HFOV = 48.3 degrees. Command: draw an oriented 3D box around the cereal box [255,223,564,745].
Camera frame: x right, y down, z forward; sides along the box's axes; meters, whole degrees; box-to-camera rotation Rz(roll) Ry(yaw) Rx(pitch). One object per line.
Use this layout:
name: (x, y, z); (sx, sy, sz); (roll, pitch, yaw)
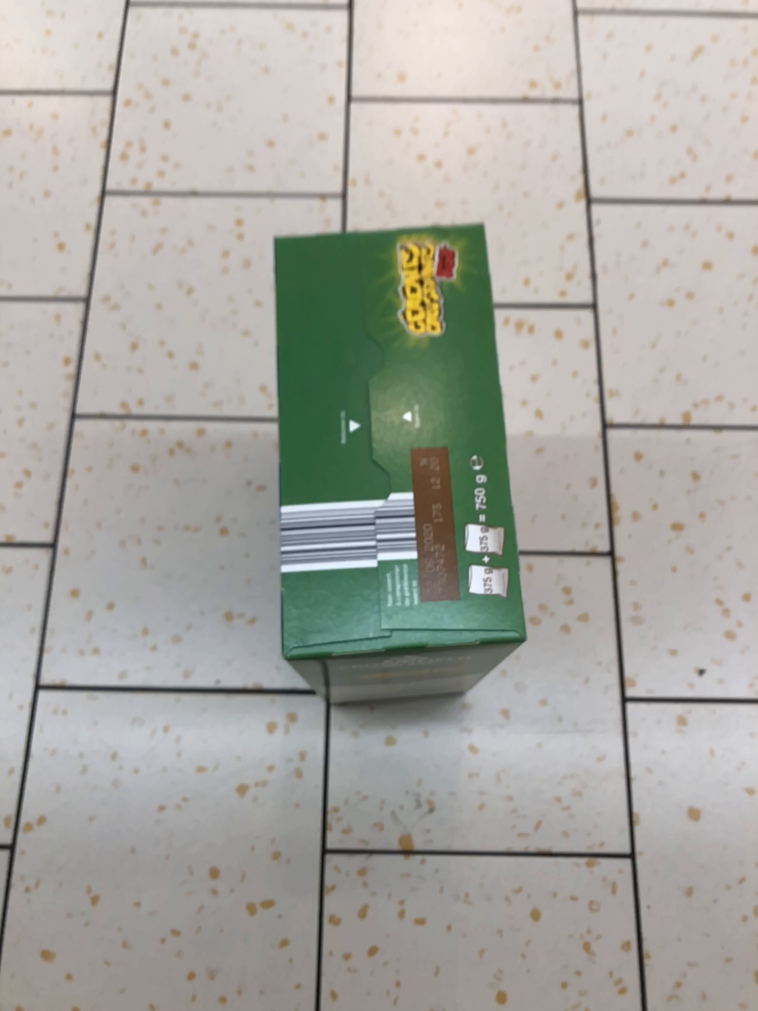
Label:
cereal box: (0.008, 0.016, 0.472); (0.110, 0.260, 0.210); (-4, 72, -1)
